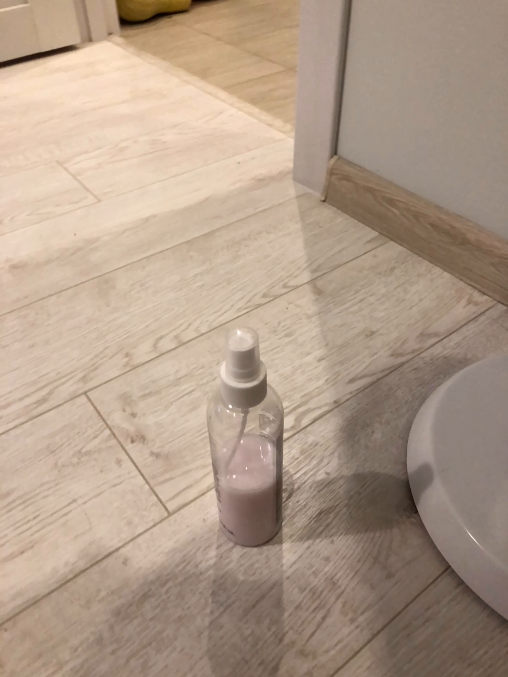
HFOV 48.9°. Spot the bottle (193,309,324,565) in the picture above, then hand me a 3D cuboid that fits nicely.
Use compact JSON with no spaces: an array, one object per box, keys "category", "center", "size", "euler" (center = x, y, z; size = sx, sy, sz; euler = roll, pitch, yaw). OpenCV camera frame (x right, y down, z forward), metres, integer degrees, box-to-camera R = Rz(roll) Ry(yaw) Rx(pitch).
[{"category":"bottle","center":[0.003,0.074,0.372],"size":[0.054,0.183,0.049],"euler":[-26,49,-25]}]
